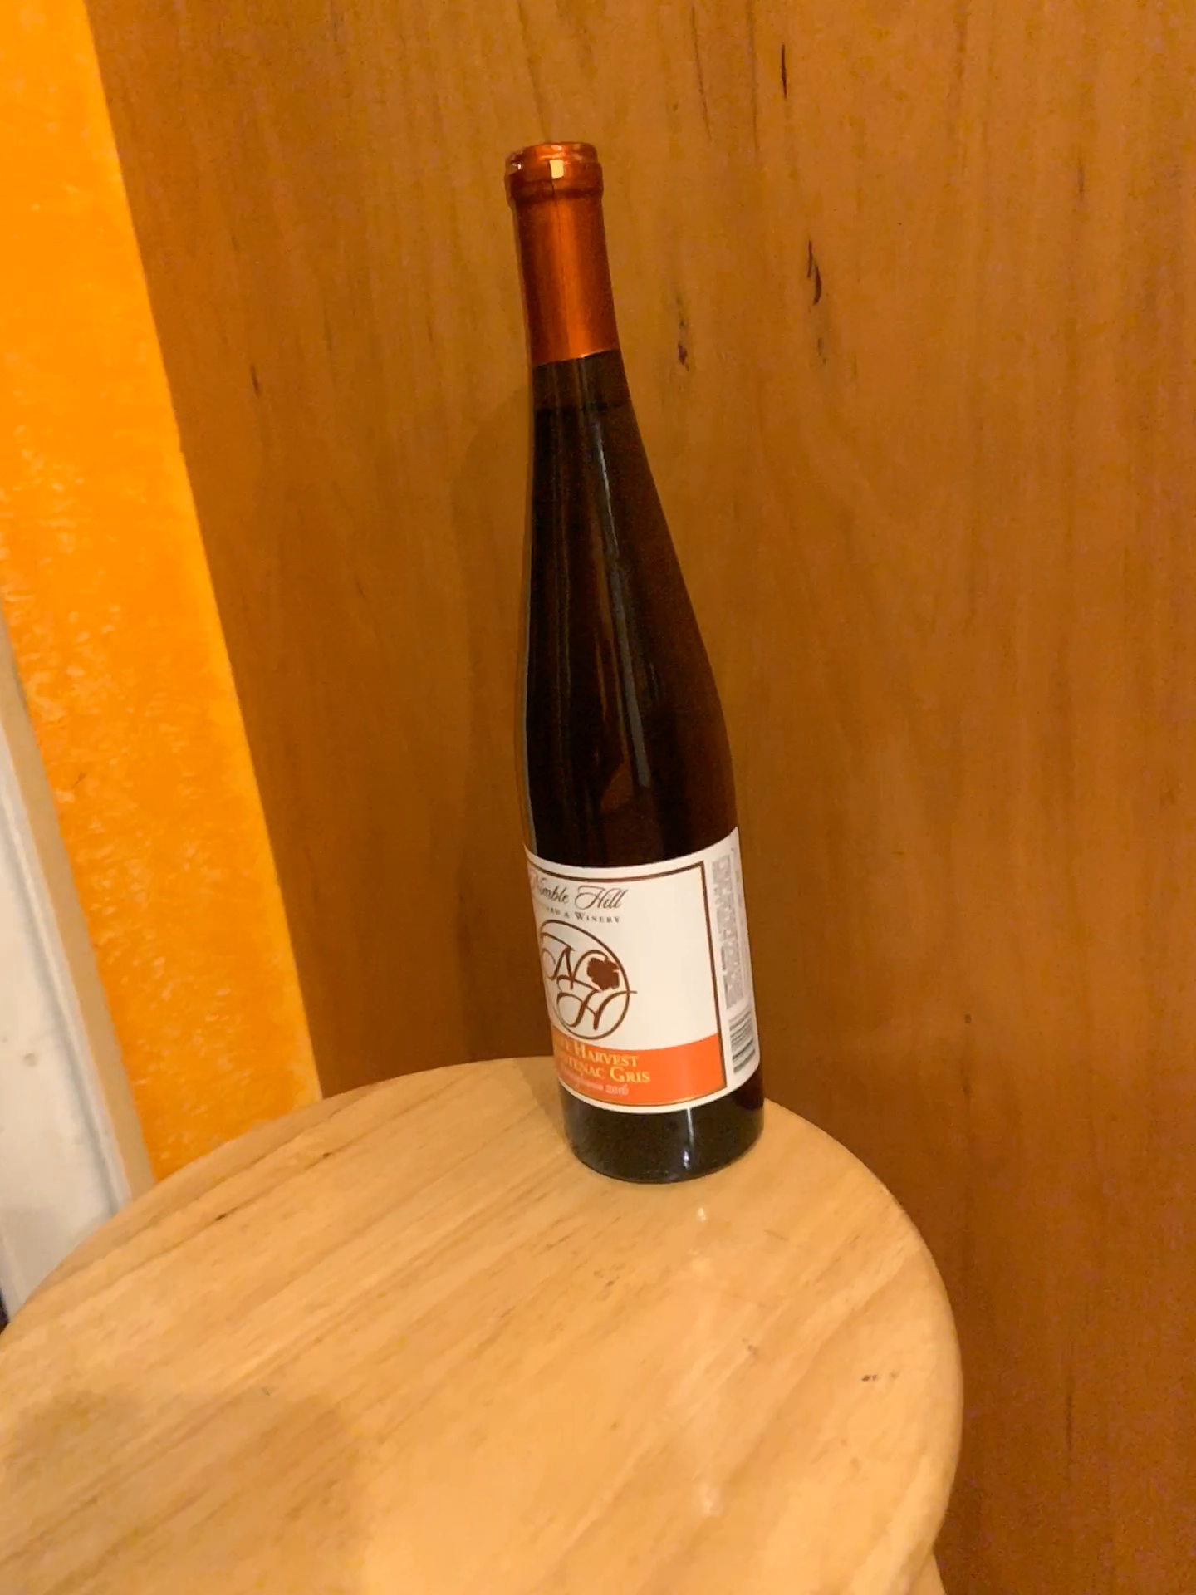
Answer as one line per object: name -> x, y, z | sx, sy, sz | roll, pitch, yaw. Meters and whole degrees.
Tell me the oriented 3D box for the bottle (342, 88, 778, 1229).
bottle -> -0.004, -0.031, 0.395 | 0.080, 0.329, 0.060 | 8, 23, 40
